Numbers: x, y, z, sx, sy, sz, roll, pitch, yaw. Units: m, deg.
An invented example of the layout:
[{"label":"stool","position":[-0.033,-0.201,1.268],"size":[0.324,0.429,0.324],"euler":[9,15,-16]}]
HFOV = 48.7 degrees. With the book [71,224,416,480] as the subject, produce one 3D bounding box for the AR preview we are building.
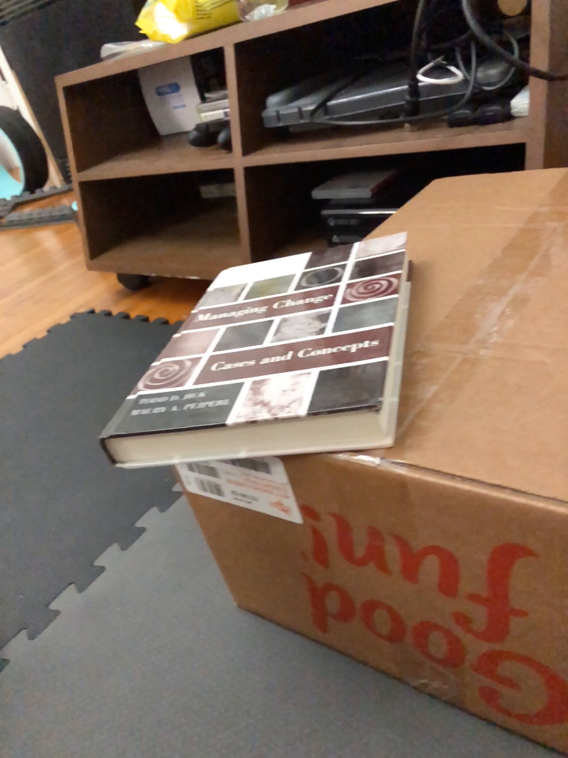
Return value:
[{"label":"book","position":[-0.006,-0.032,0.435],"size":[0.180,0.030,0.251],"euler":[-7,32,18]}]
